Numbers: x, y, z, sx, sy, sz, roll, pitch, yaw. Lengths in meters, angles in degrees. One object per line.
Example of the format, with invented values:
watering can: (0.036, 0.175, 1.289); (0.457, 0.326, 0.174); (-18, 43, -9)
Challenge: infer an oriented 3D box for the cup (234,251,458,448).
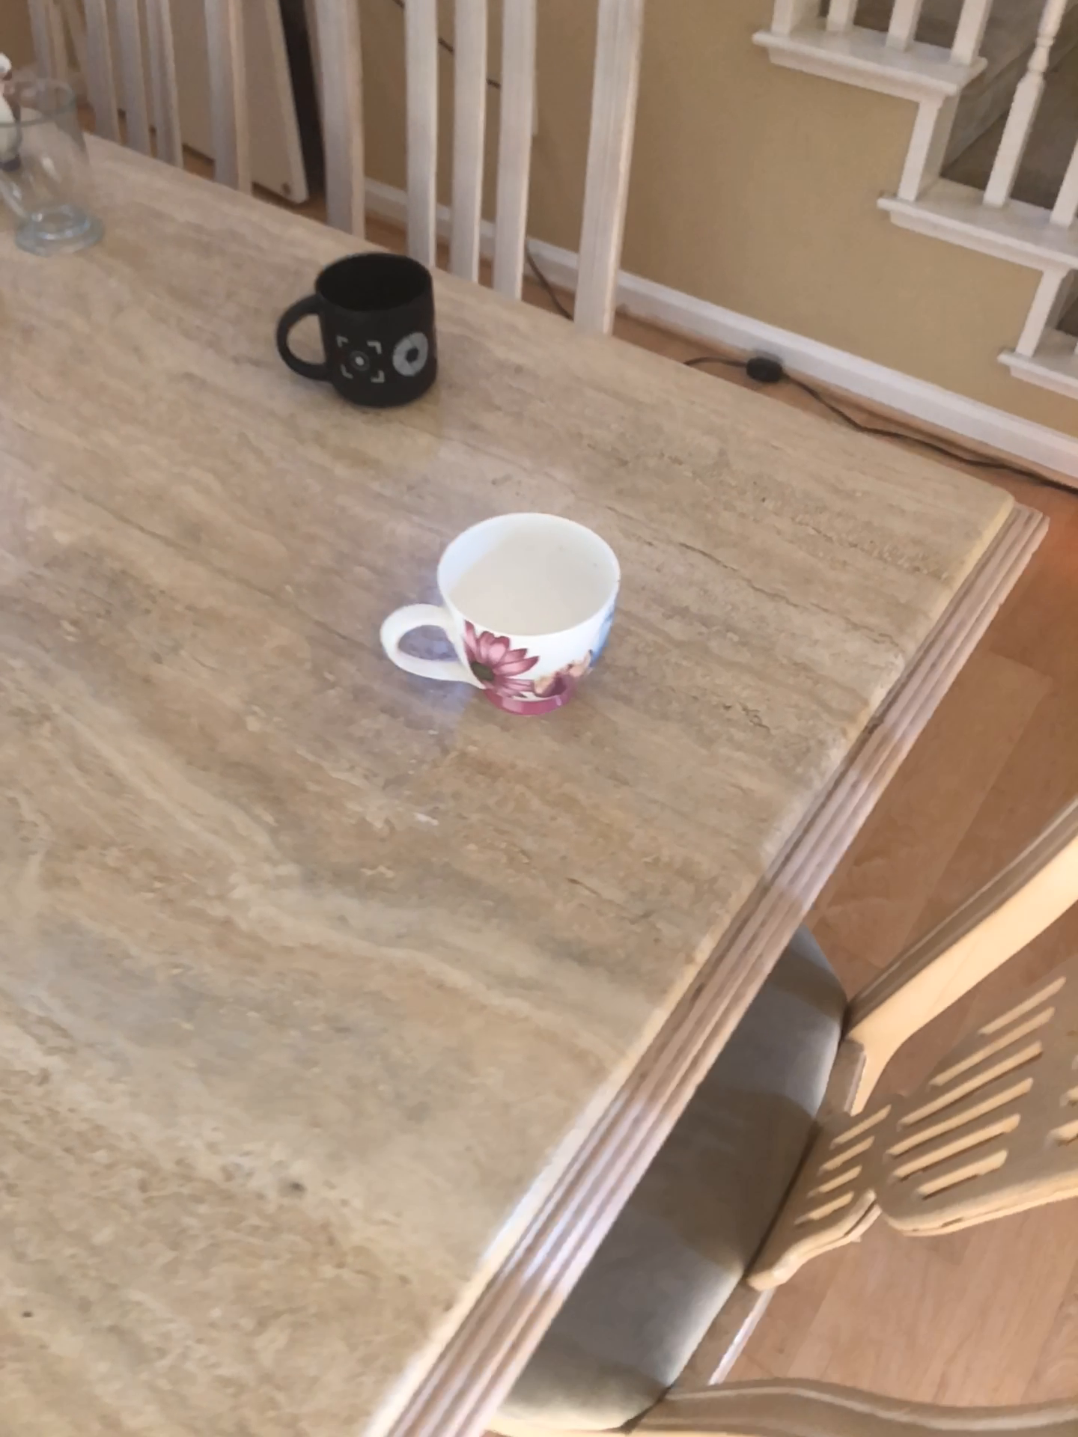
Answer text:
cup: (-0.151, -0.292, 0.940); (0.150, 0.089, 0.101); (-12, 51, -11)

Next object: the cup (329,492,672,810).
cup: (-0.023, -0.043, 0.705); (0.161, 0.089, 0.111); (-22, 54, -19)
